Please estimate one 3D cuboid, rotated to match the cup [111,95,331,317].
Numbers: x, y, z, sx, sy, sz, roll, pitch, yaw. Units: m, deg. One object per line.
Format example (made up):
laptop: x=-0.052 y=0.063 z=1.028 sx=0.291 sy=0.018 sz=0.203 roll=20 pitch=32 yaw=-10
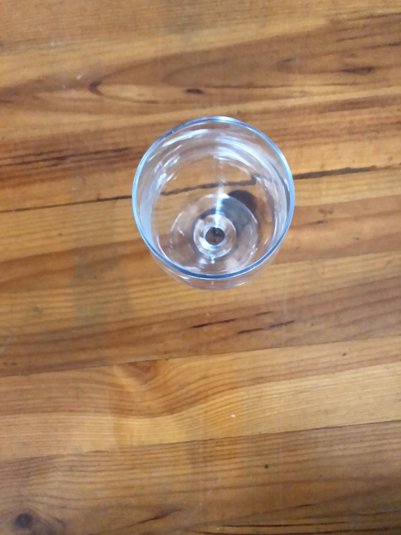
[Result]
cup: x=0.009 y=-0.023 z=0.287 sx=0.081 sy=0.184 sz=0.083 roll=0 pitch=88 yaw=0
